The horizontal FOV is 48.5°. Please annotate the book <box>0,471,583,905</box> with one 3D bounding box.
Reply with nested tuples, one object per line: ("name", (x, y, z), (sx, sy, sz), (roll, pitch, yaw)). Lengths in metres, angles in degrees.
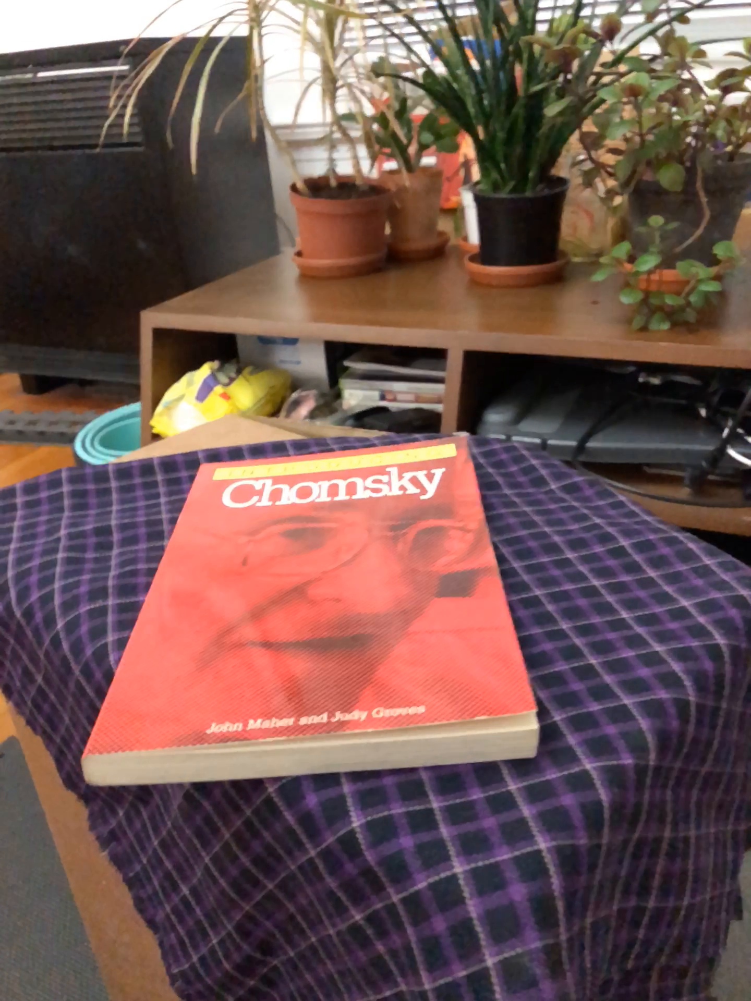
("book", (-0.031, 0.053, 0.355), (0.180, 0.020, 0.241), (-4, 27, 1))
